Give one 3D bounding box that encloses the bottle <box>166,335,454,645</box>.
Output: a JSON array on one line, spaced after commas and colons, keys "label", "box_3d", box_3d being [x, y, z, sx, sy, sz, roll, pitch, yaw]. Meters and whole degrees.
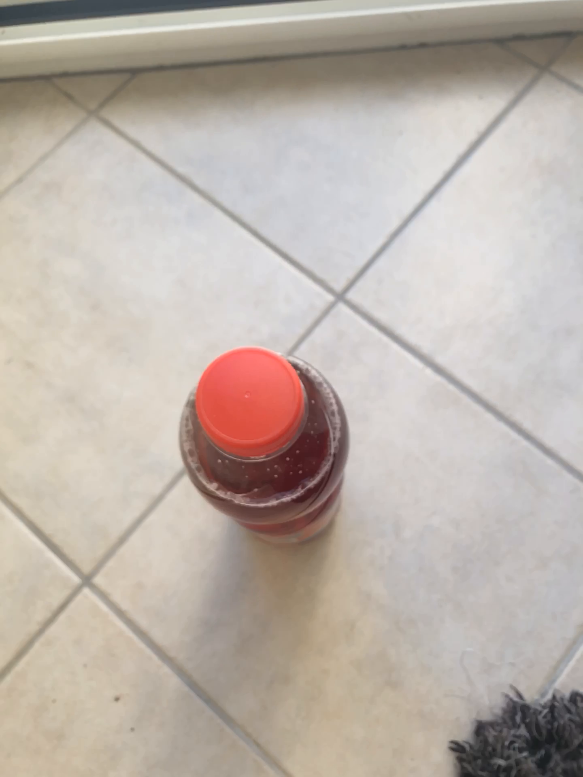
[{"label": "bottle", "box_3d": [0.010, 0.068, 0.350, 0.080, 0.260, 0.090, -13, 73, -1]}]
